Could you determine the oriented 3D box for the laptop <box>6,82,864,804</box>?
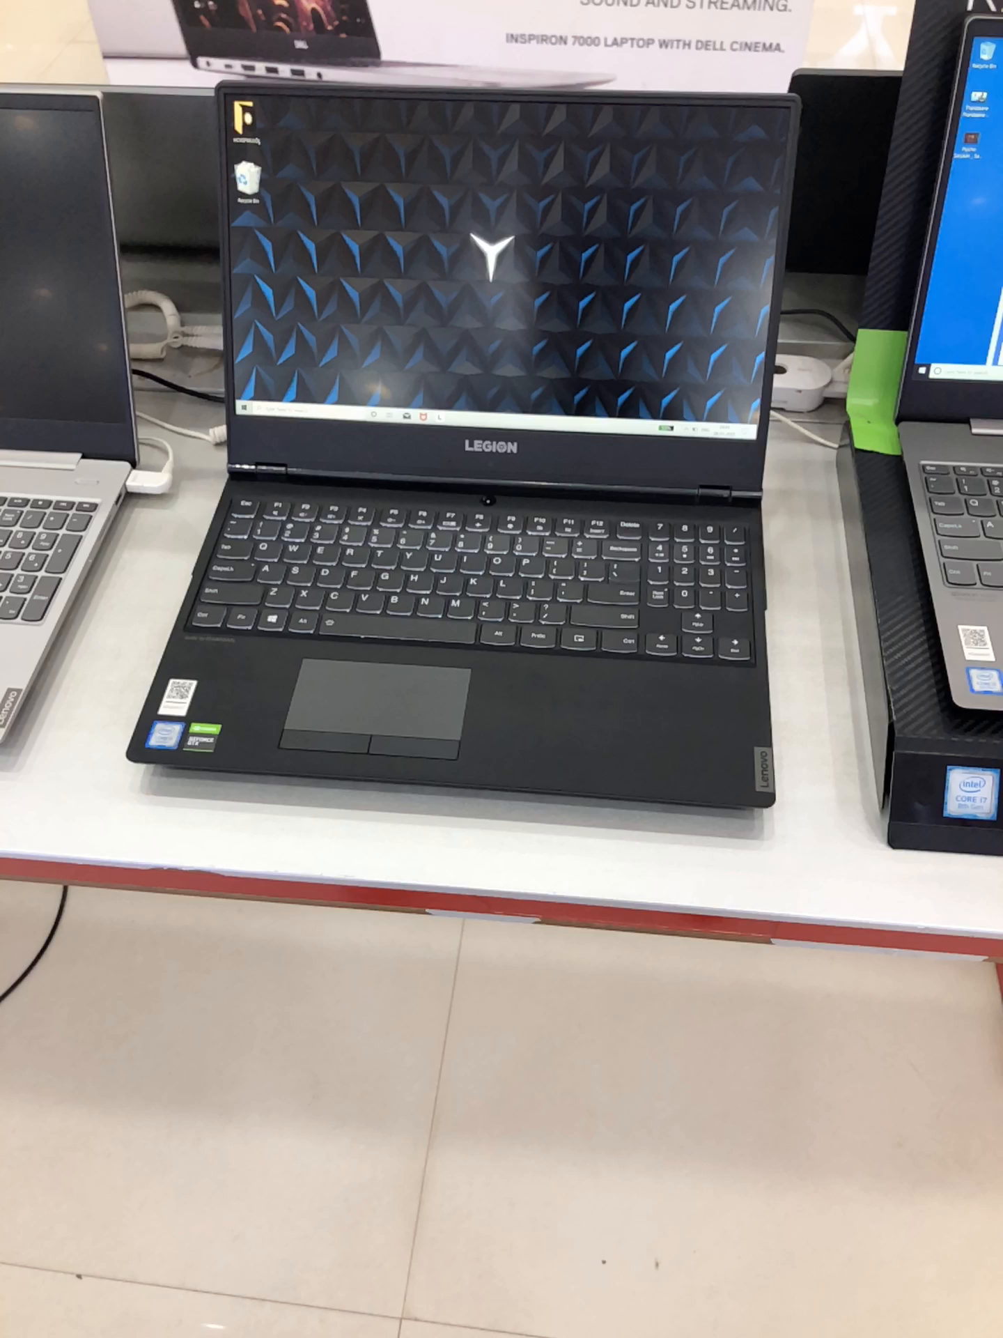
[{"bbox_3d":[-0.012,-0.138,0.607,0.333,0.191,0.349,4,52,4],"label":"laptop"}]
